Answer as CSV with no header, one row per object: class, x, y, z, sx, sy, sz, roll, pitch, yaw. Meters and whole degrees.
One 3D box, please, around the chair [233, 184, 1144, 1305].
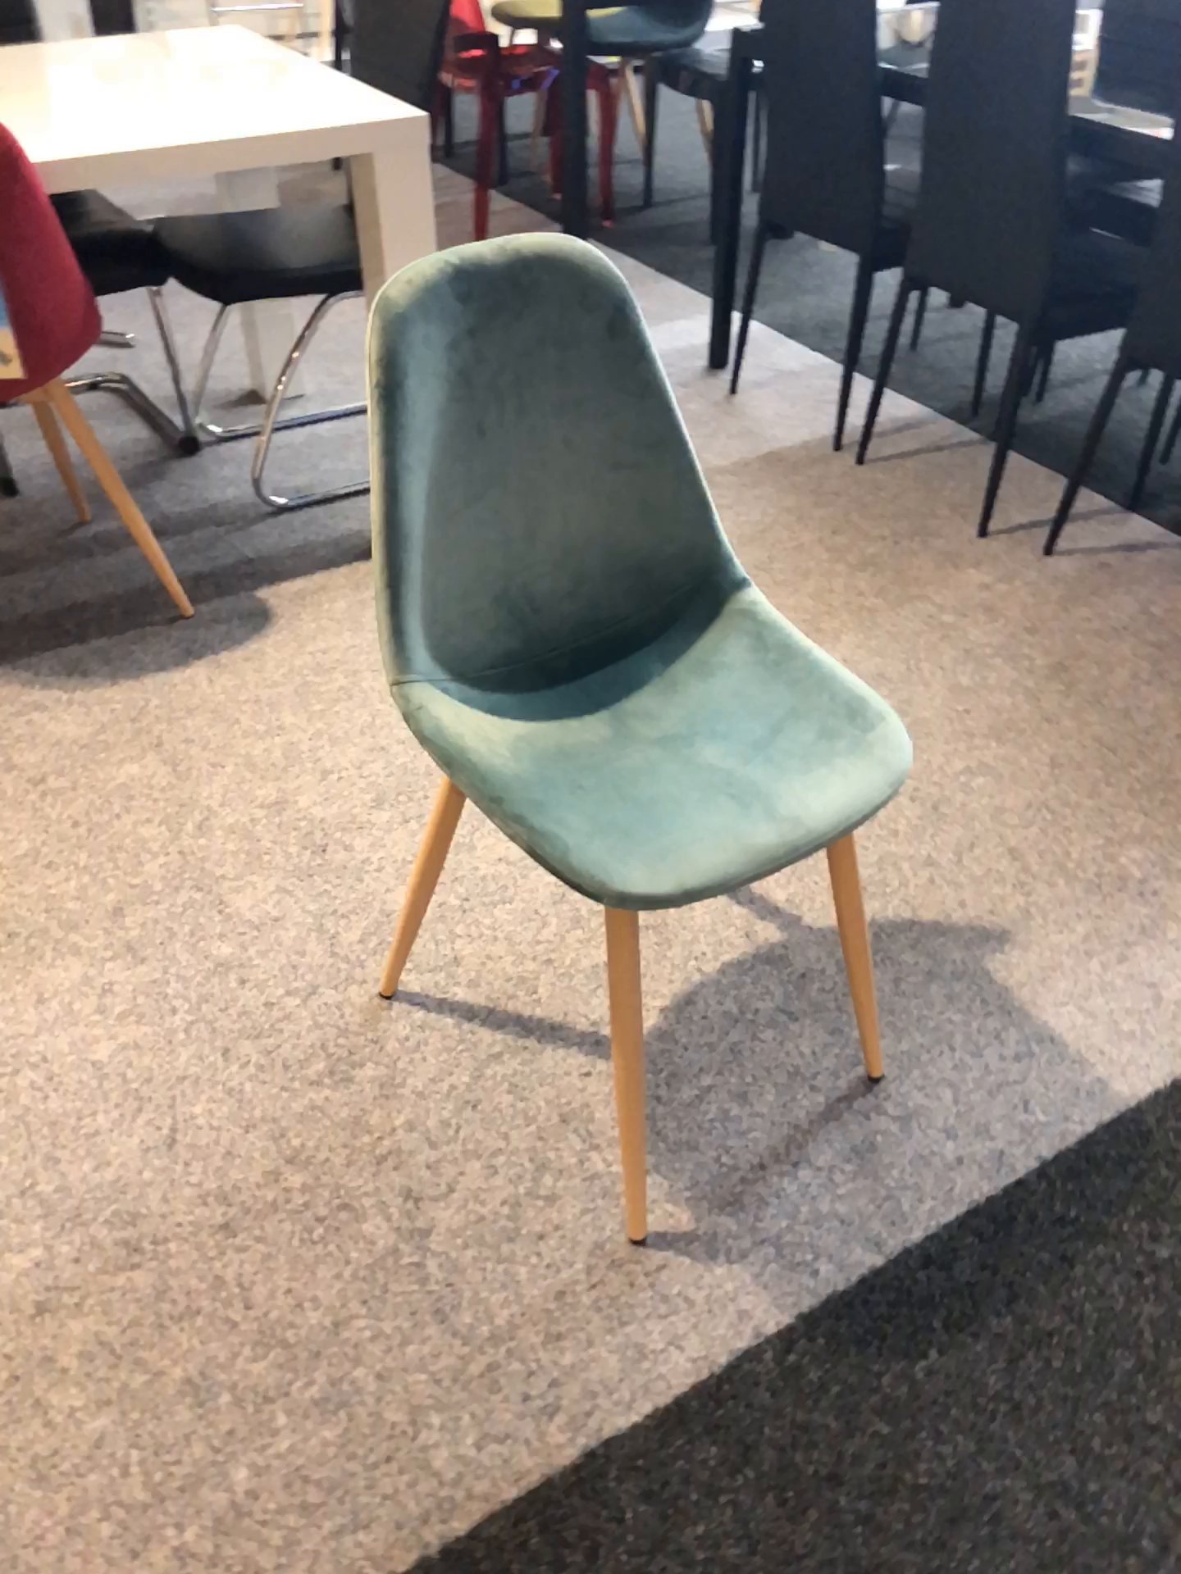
chair,0.055,-0.054,1.275,0.472,0.835,0.551,-25,45,-29
